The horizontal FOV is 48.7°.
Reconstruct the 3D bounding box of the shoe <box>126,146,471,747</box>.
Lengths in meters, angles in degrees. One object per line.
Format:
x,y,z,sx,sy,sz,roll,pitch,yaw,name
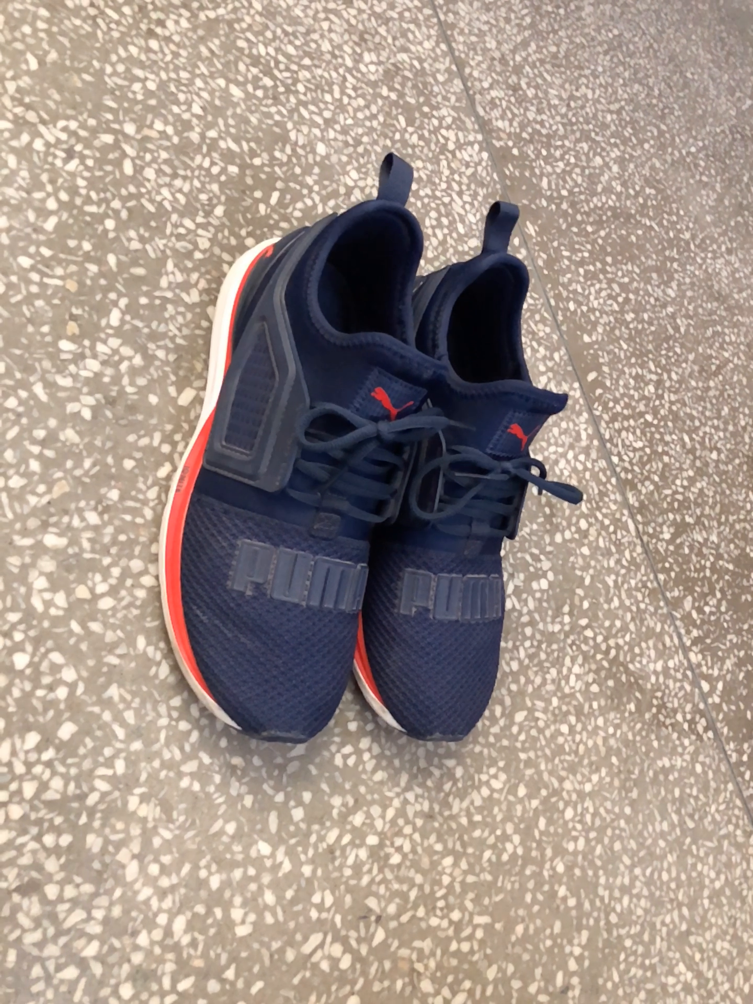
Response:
-0.034,-0.016,0.413,0.107,0.113,0.257,15,68,-31,shoe

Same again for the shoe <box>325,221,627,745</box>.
0.049,0.001,0.466,0.107,0.113,0.257,12,70,-32,shoe
